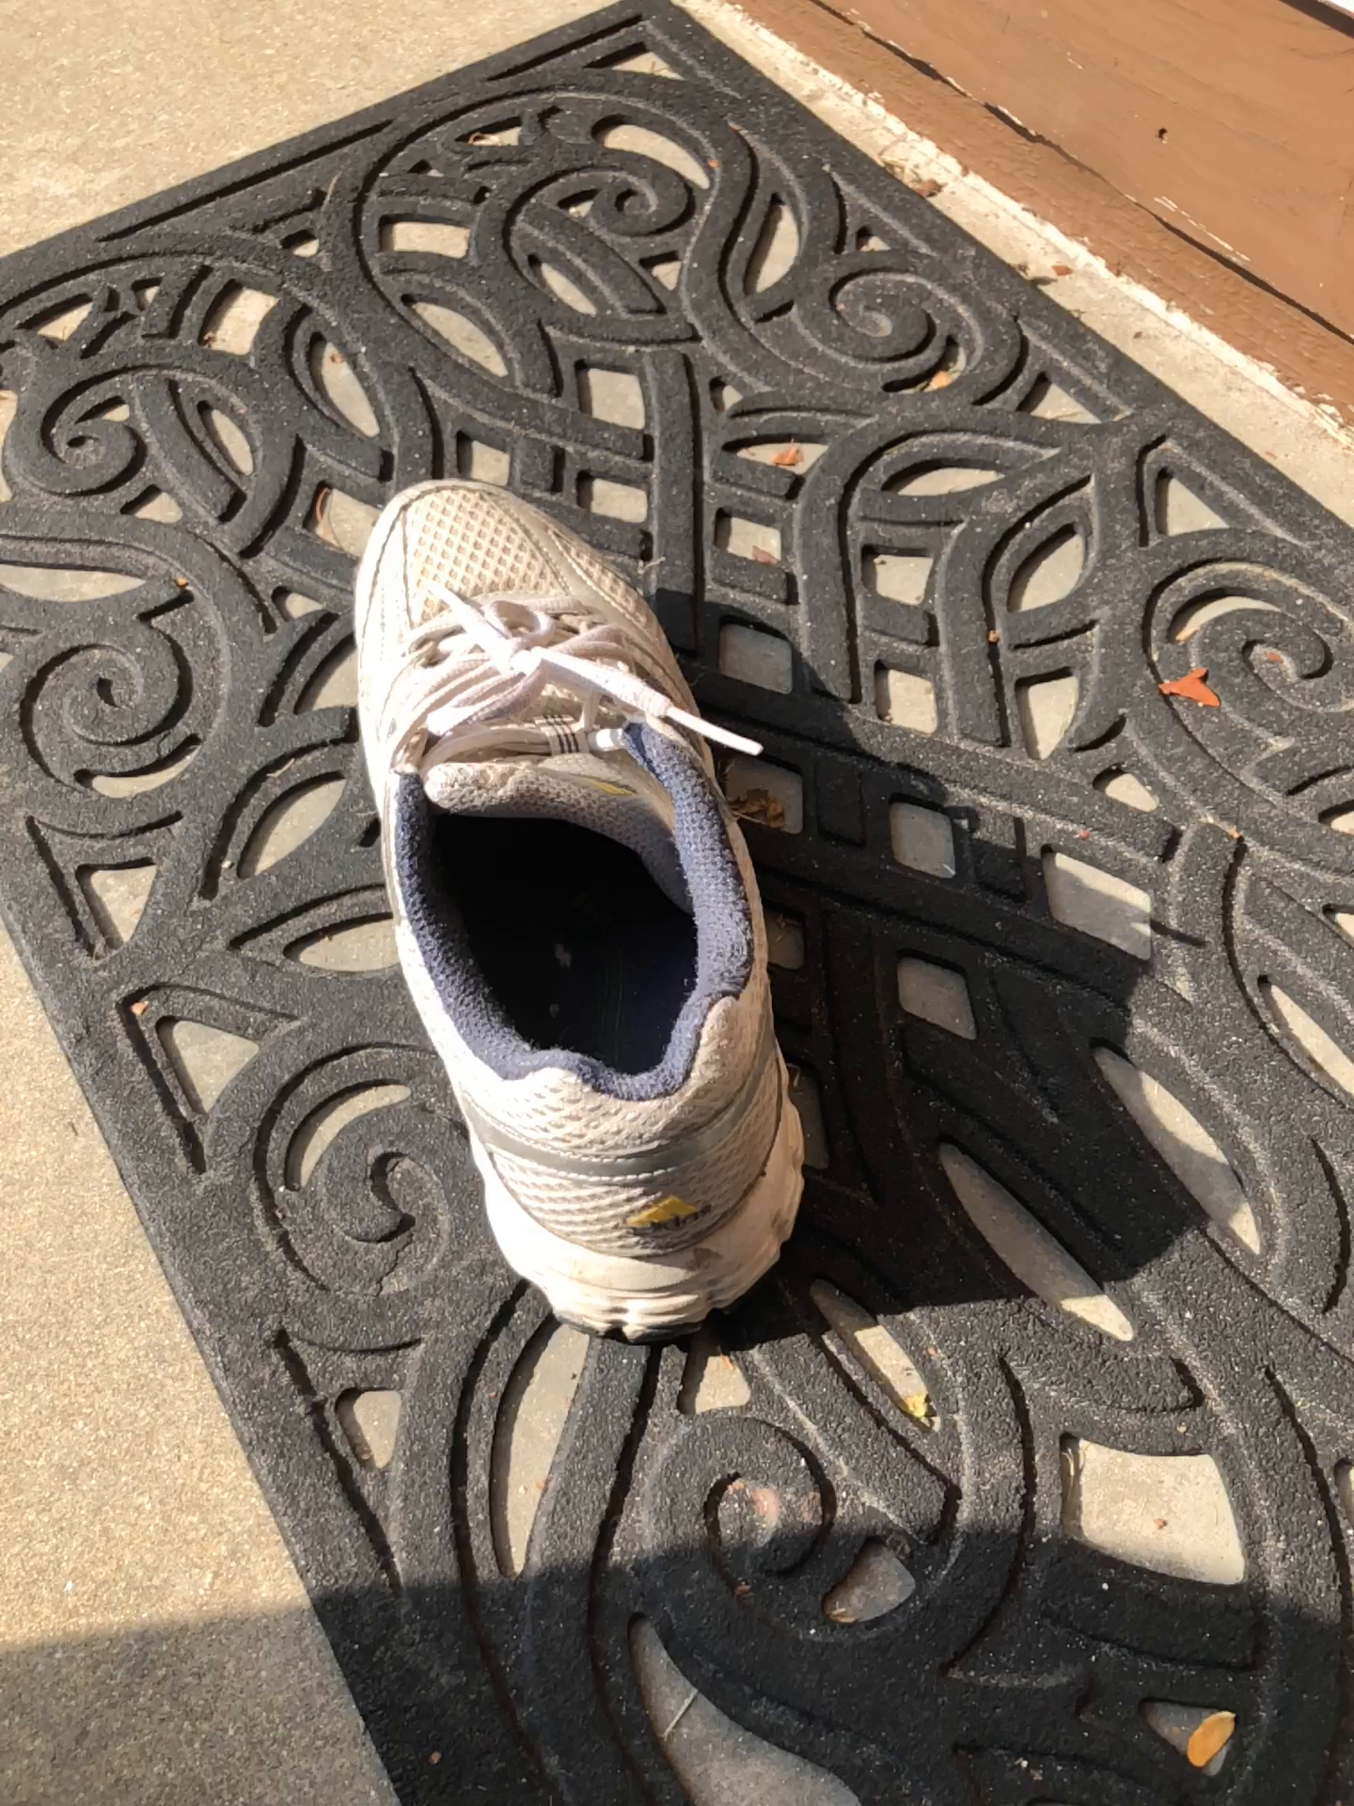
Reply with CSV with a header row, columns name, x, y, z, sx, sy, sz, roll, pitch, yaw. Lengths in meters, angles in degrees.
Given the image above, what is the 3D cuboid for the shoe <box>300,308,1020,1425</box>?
name,x,y,z,sx,sy,sz,roll,pitch,yaw
shoe,-0.015,-0.017,0.411,0.110,0.130,0.260,-15,57,-4
